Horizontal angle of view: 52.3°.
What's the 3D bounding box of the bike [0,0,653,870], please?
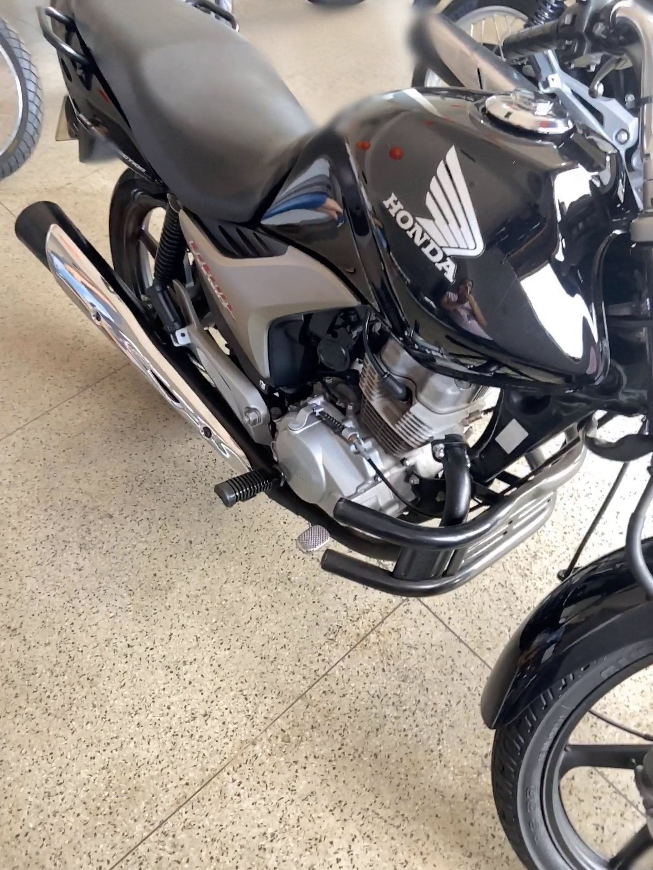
[{"bbox_3d":[0.187,-0.242,1.042,1.739,1.138,0.775,35,63,29],"label":"bike"}]
